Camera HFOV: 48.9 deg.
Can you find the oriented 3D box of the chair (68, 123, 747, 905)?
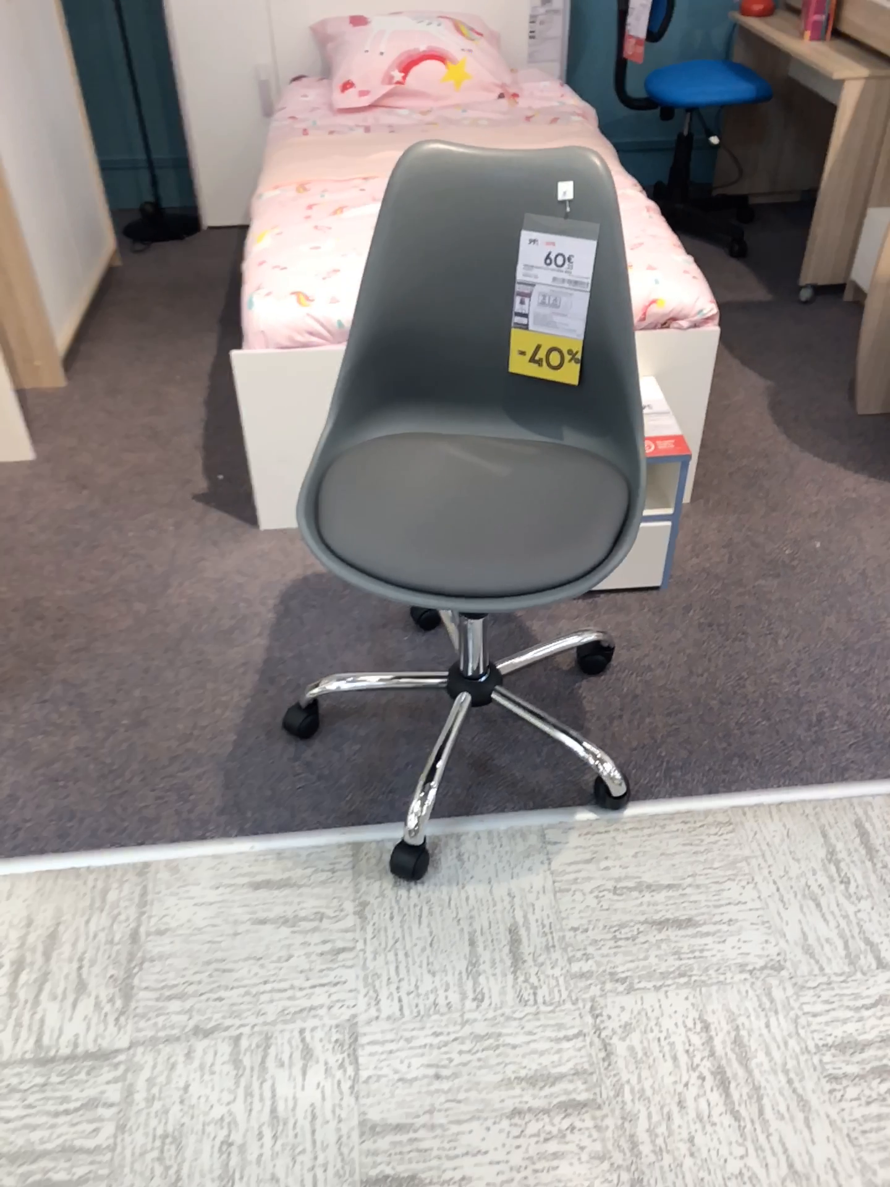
[{"bbox_3d":[0.002,-0.113,1.362,0.600,0.835,0.634,4,40,6],"label":"chair"}]
